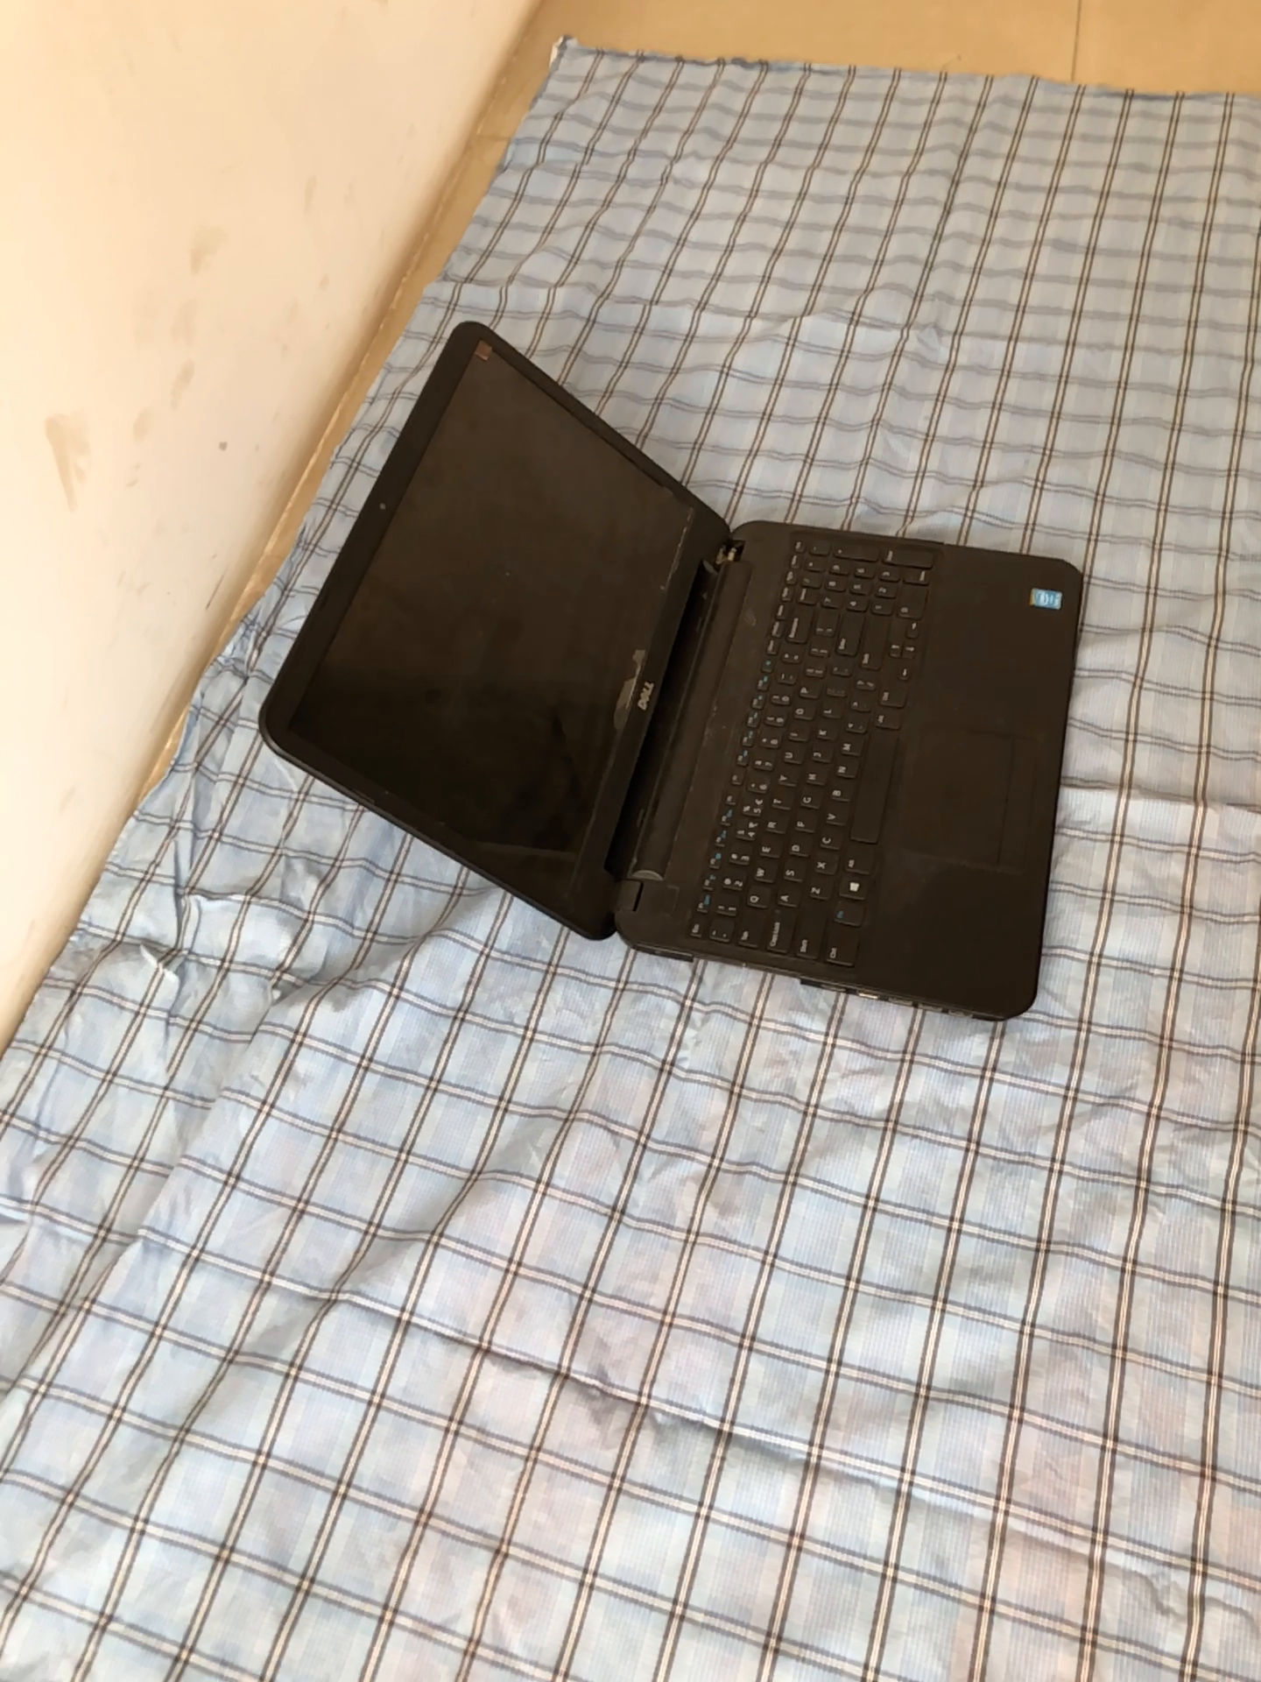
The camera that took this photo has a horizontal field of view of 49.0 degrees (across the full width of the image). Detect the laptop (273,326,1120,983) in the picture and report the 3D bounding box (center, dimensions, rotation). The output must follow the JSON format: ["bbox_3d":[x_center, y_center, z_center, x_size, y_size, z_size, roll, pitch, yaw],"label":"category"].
[{"bbox_3d":[0.060,-0.135,0.860,0.413,0.163,0.357,8,56,14],"label":"laptop"}]
